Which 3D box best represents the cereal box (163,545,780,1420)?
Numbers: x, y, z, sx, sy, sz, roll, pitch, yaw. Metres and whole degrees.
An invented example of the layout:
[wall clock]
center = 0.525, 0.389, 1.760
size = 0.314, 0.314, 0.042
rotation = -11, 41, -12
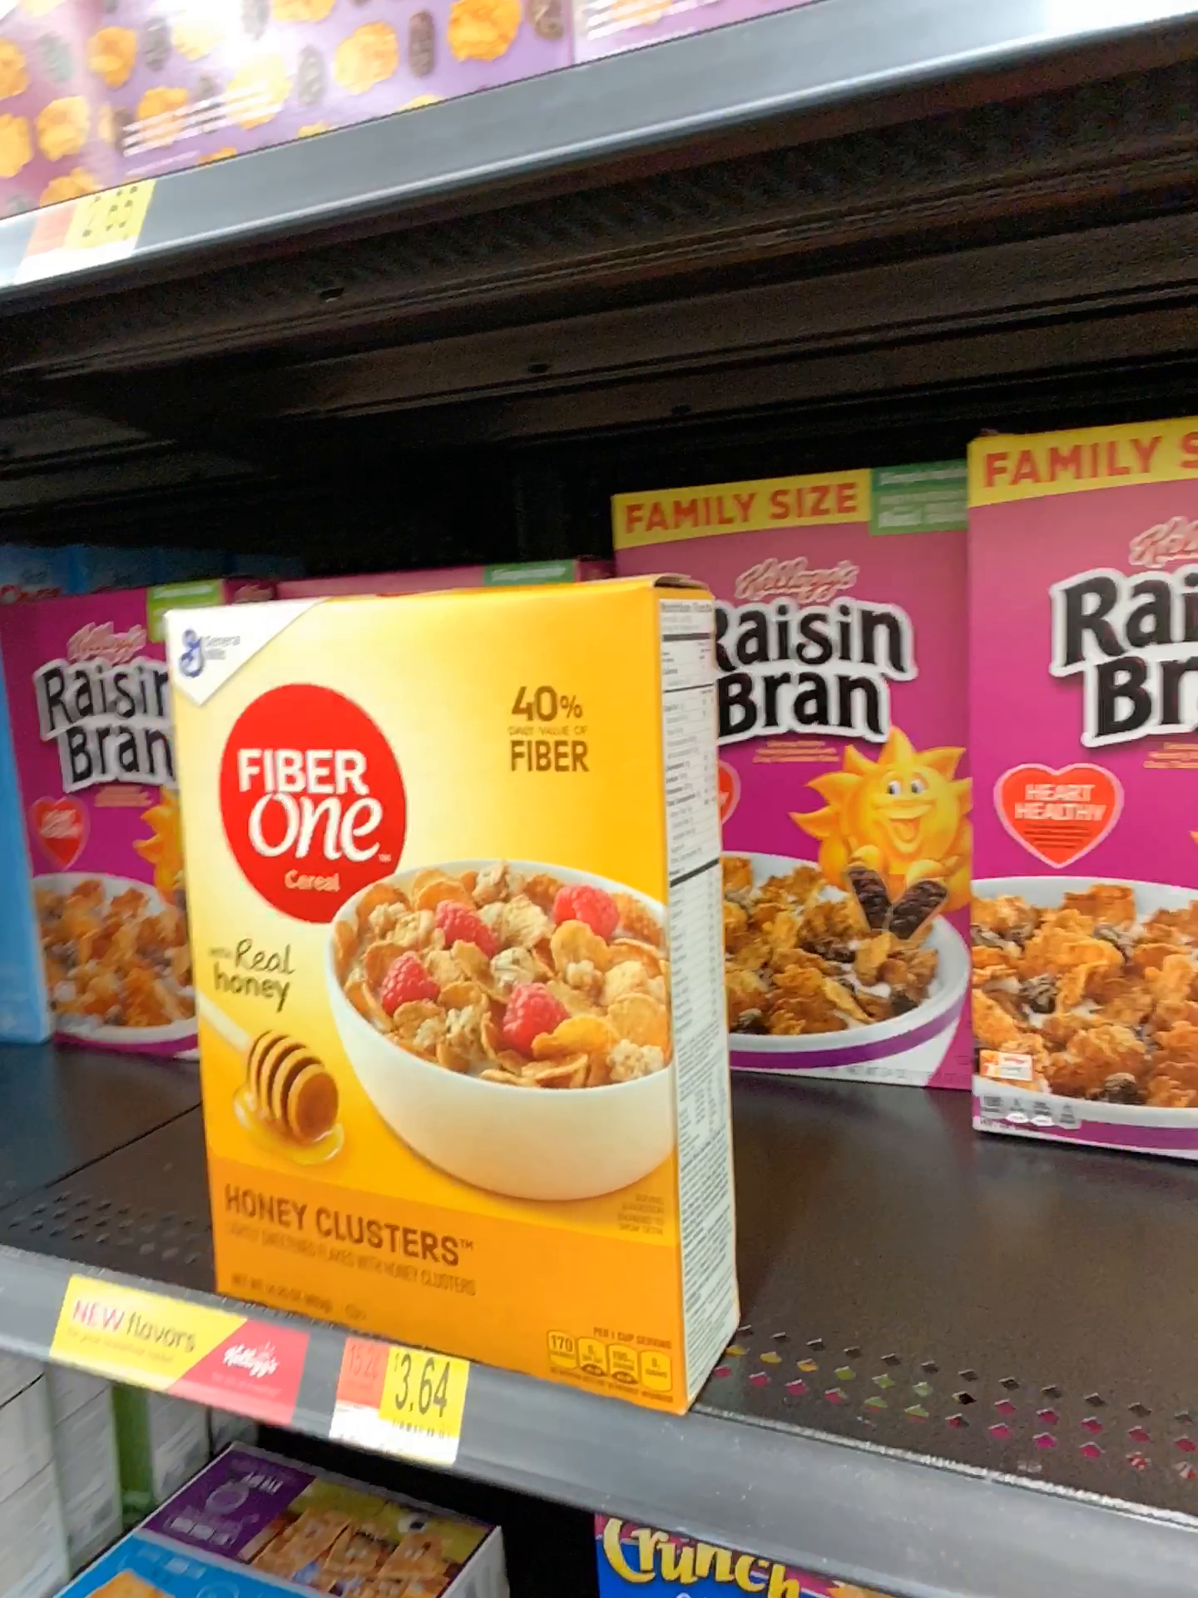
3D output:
[cereal box]
center = -0.046, 0.054, 0.424
size = 0.200, 0.260, 0.050
rotation = 0, 7, 27
